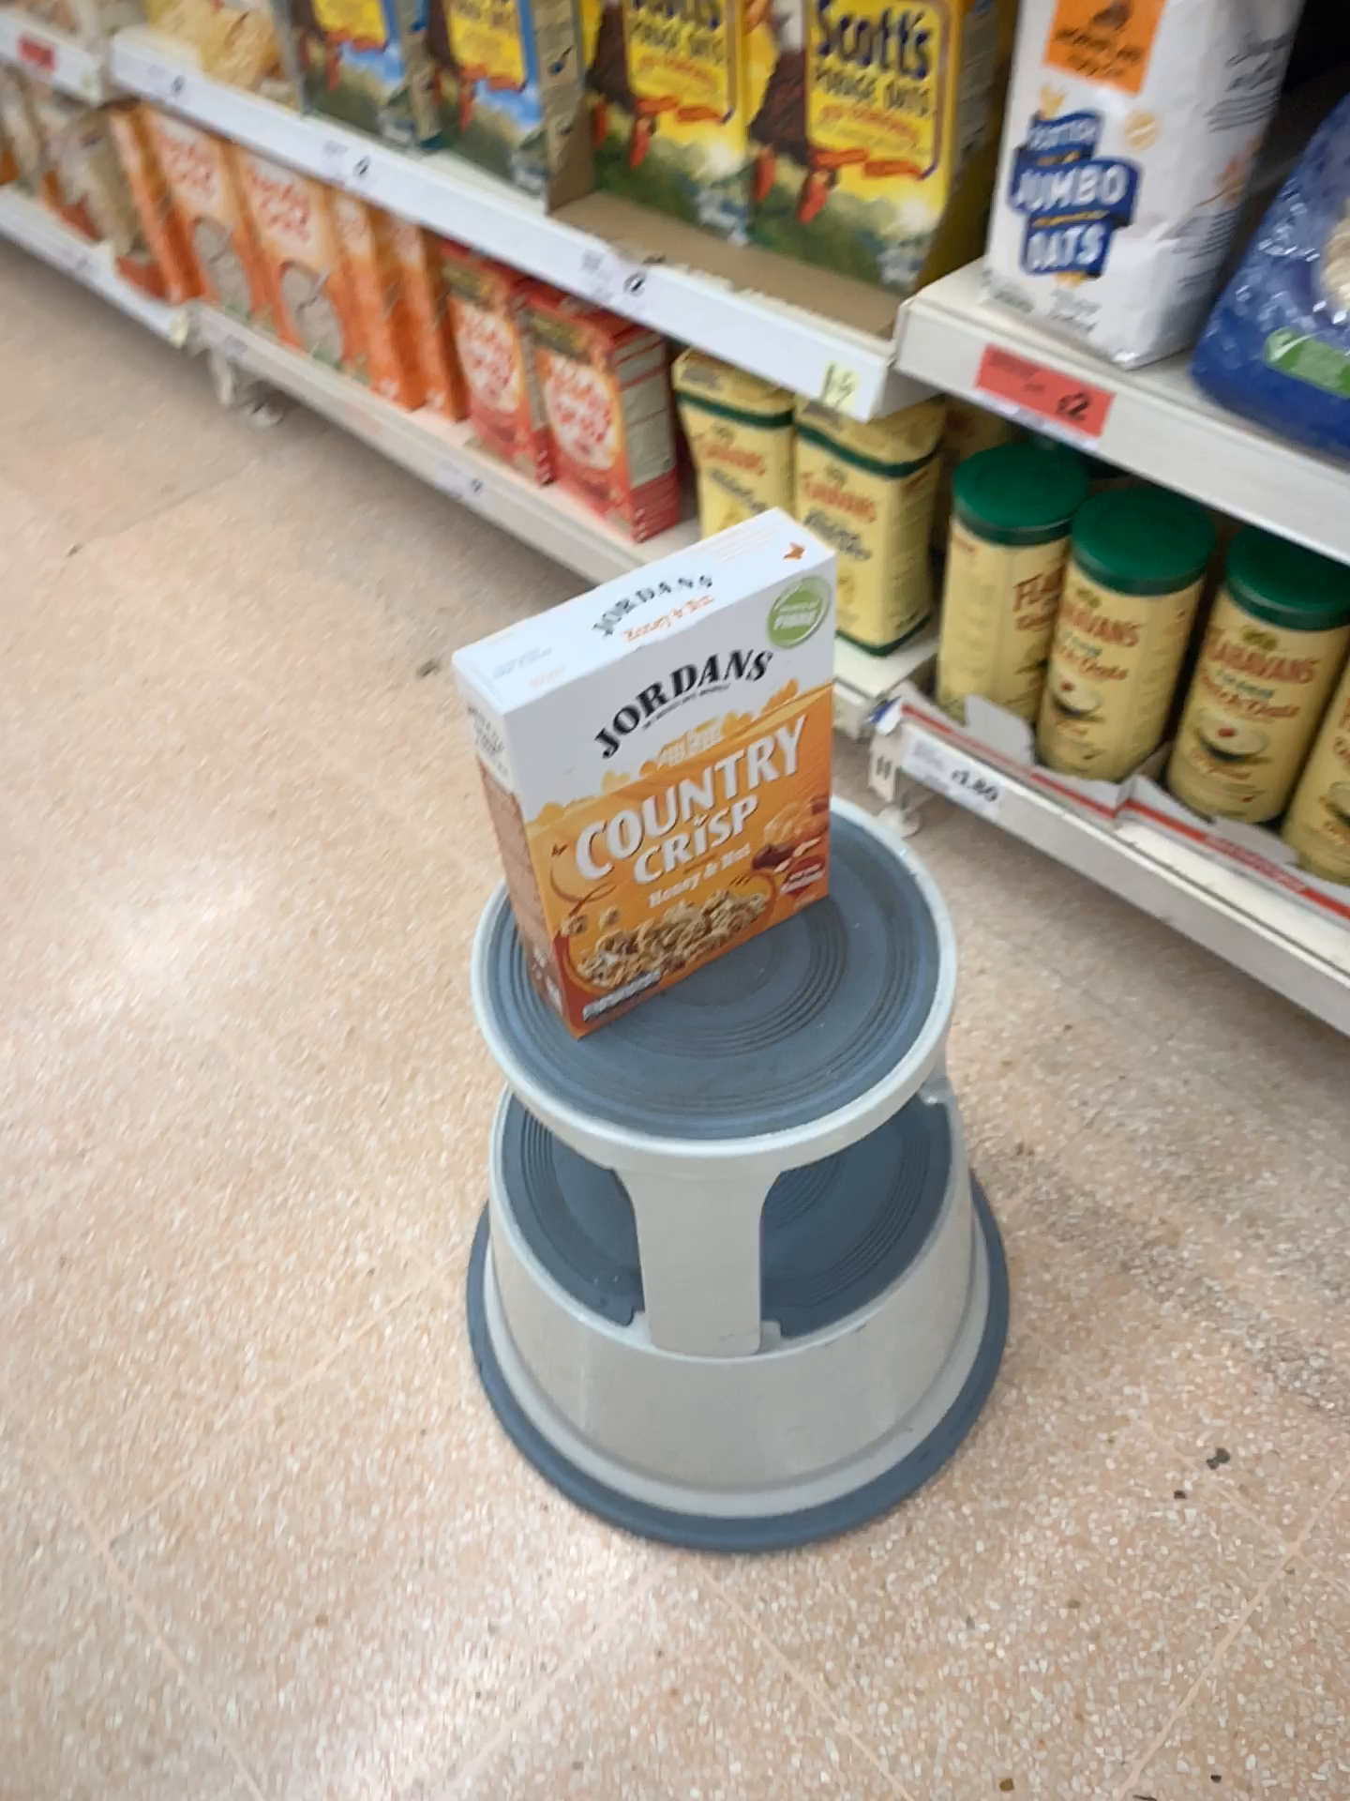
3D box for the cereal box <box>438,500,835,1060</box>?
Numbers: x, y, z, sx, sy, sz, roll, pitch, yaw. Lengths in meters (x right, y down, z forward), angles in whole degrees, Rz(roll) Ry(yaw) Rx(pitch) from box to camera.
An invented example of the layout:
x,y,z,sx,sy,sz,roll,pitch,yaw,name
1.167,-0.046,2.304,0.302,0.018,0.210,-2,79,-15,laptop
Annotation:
x,y,z,sx,sy,sz,roll,pitch,yaw,name
-0.008,-0.052,0.718,0.180,0.258,0.050,-28,52,-19,cereal box
